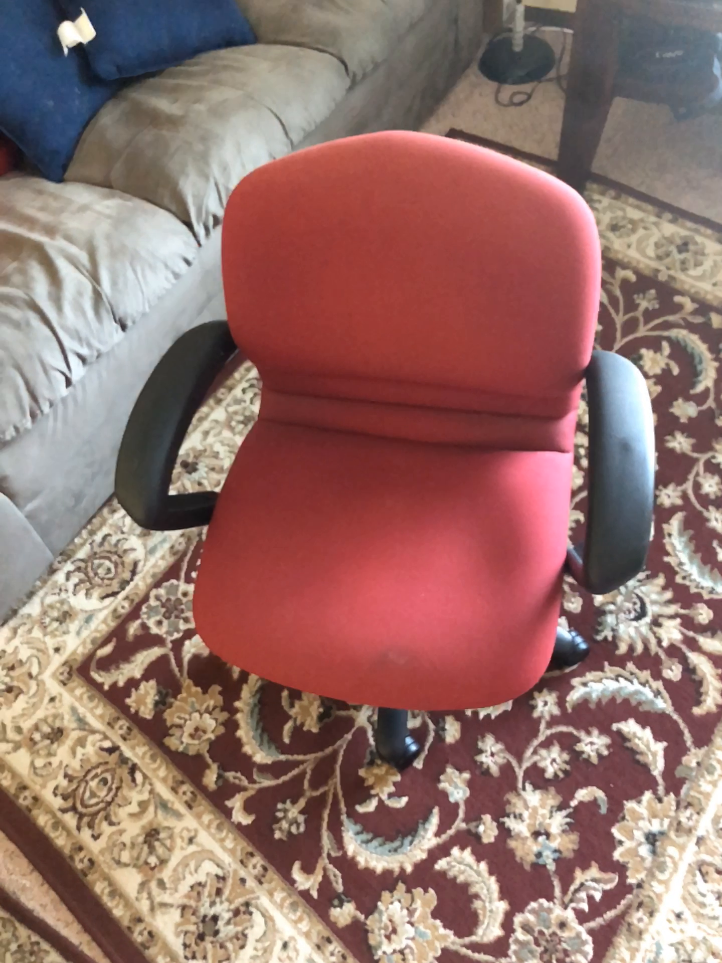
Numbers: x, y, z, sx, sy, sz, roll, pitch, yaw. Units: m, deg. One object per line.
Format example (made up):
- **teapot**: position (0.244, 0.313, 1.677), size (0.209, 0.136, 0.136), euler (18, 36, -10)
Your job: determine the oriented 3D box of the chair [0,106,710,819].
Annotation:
- **chair**: position (0.049, 0.007, 1.125), size (0.650, 0.730, 0.620), euler (9, 59, 13)
